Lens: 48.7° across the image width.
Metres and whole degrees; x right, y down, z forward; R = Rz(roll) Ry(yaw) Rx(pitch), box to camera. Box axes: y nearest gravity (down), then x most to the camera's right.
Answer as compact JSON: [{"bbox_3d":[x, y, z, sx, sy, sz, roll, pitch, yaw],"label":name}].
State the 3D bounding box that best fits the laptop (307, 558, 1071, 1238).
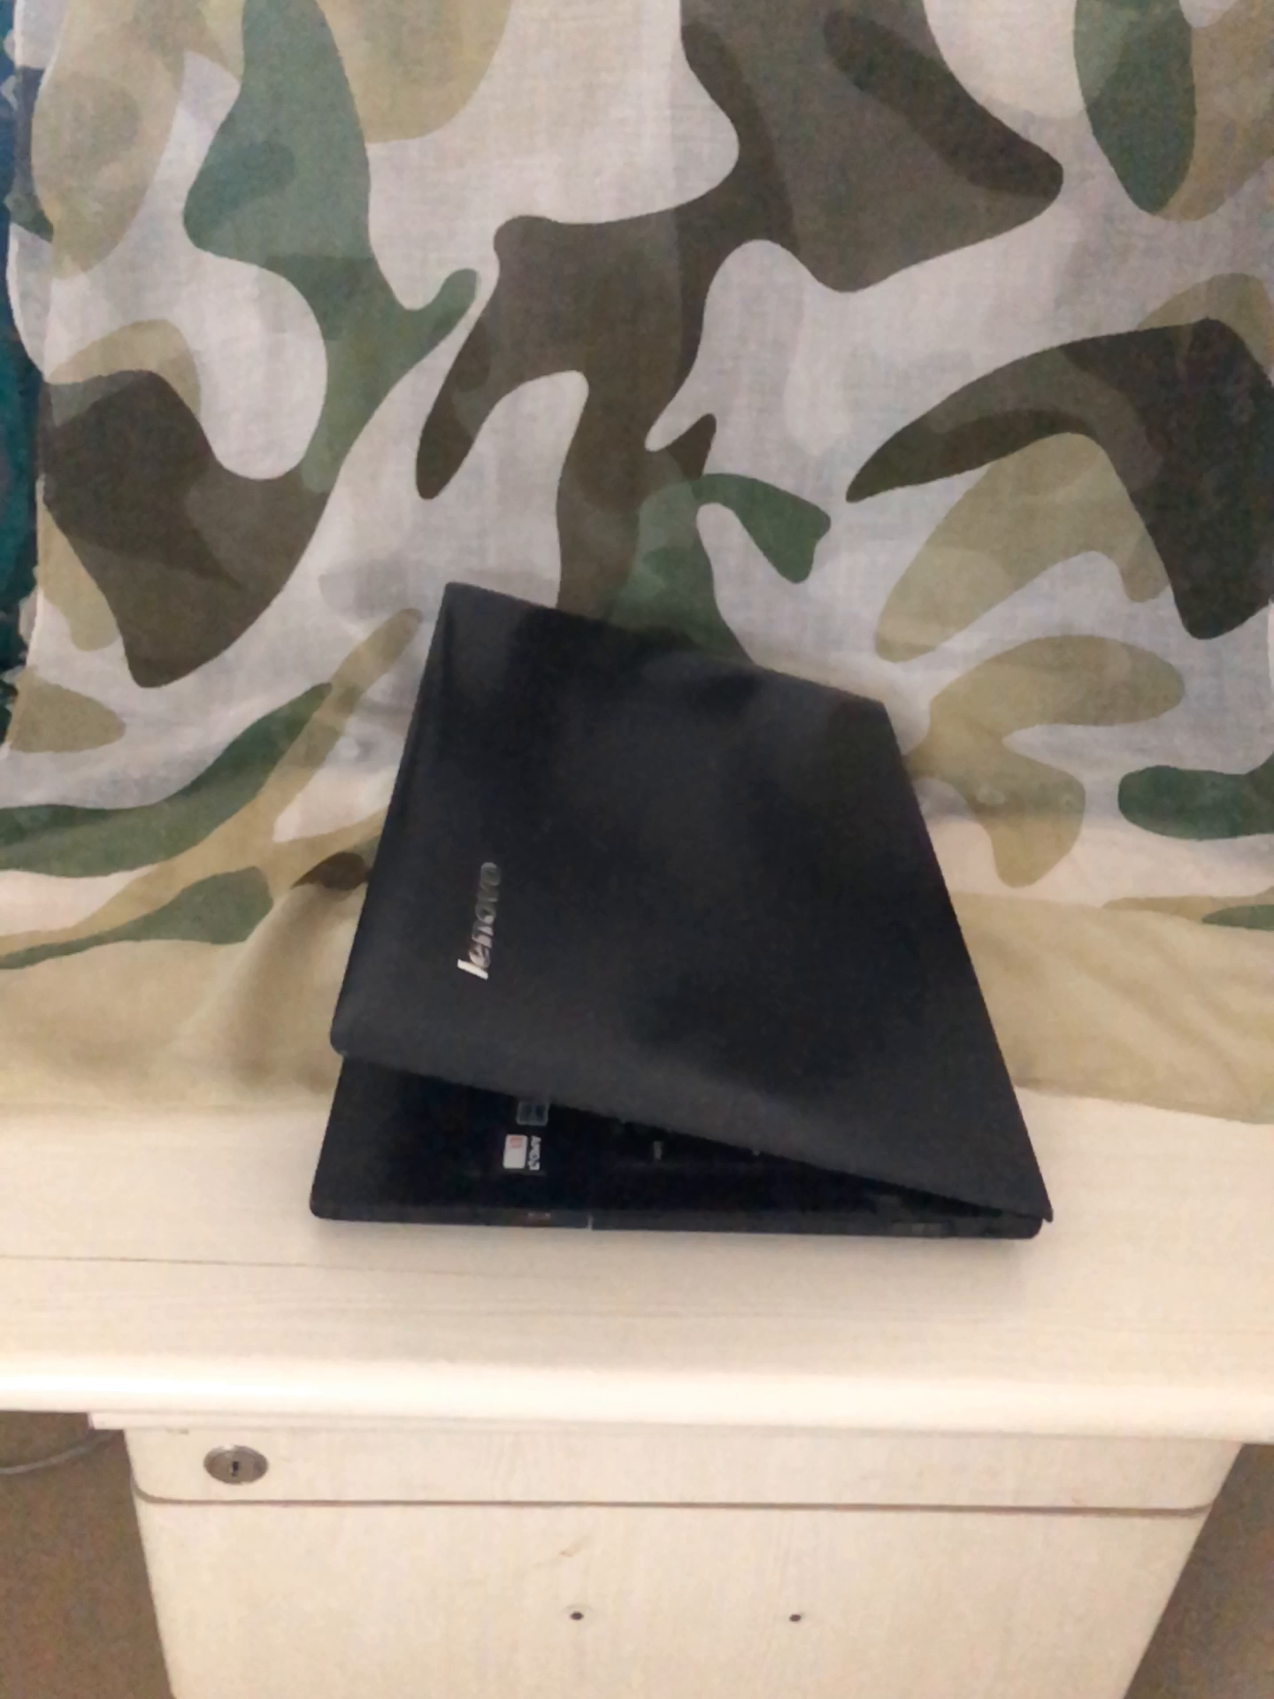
[{"bbox_3d":[0.019,-0.011,0.630,0.249,0.059,0.387,6,34,-4],"label":"laptop"}]
